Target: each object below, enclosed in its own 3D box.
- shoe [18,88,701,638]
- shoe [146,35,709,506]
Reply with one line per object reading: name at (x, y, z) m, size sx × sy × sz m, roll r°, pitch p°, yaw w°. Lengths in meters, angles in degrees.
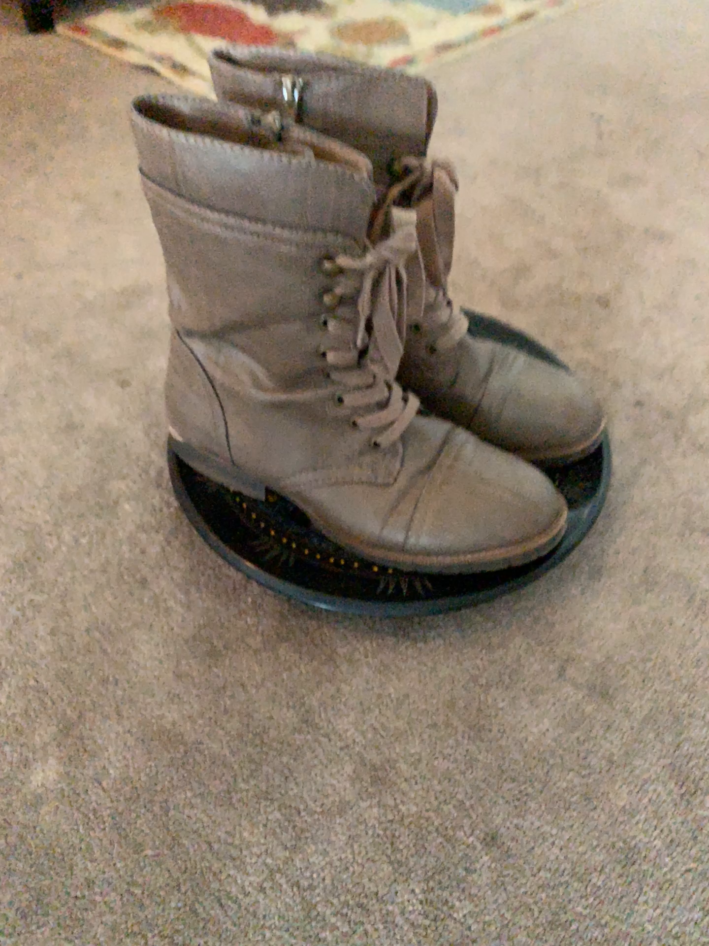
shoe at (-0.001, -0.056, 0.382) m, size 0.270 × 0.198 × 0.101 m, roll 19°, pitch 50°, yaw 17°
shoe at (0.036, -0.122, 0.448) m, size 0.270 × 0.198 × 0.101 m, roll 19°, pitch 50°, yaw 17°
